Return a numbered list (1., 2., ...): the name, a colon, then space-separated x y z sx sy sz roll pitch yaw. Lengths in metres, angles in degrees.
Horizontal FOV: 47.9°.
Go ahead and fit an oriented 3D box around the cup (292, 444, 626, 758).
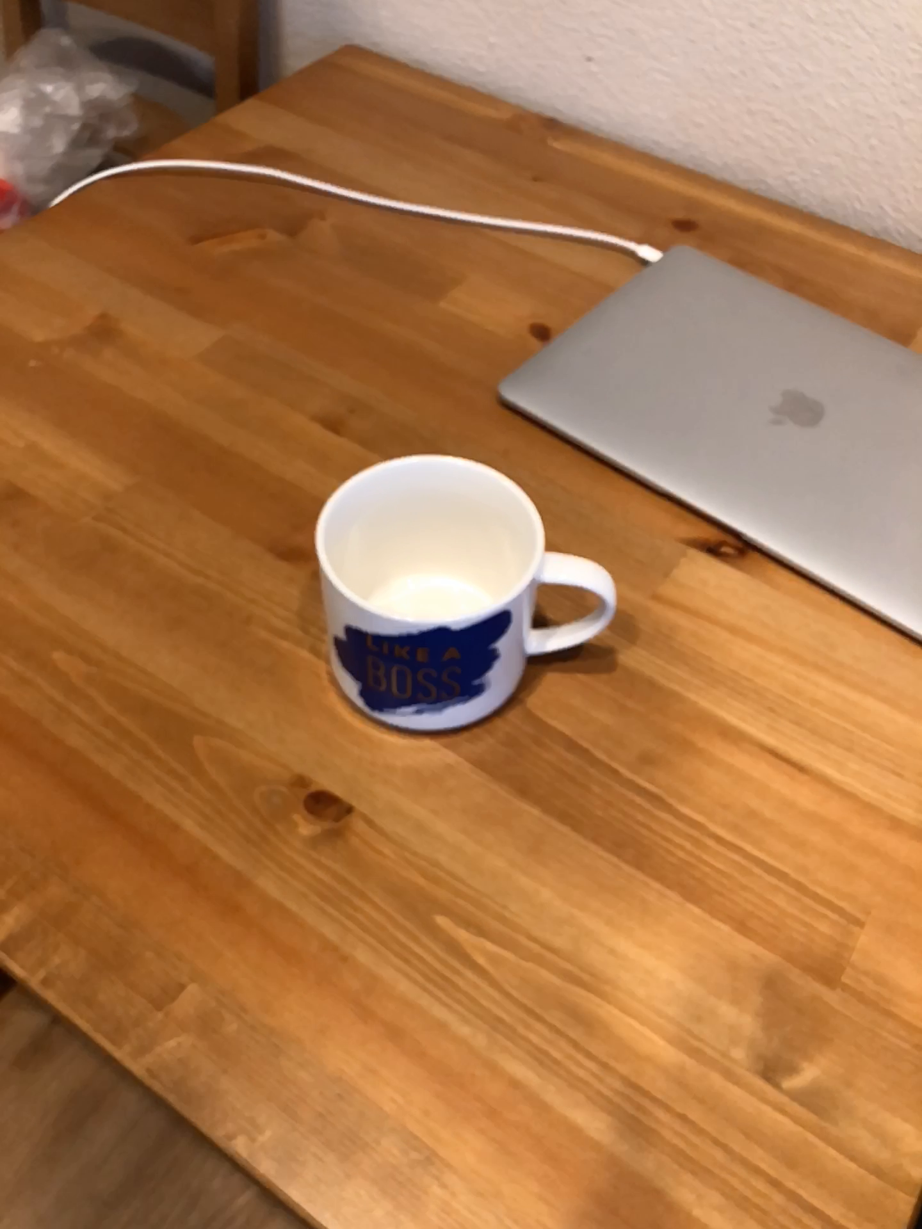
1. cup: 0.000 -0.006 0.470 0.130 0.090 0.100 4 51 0
